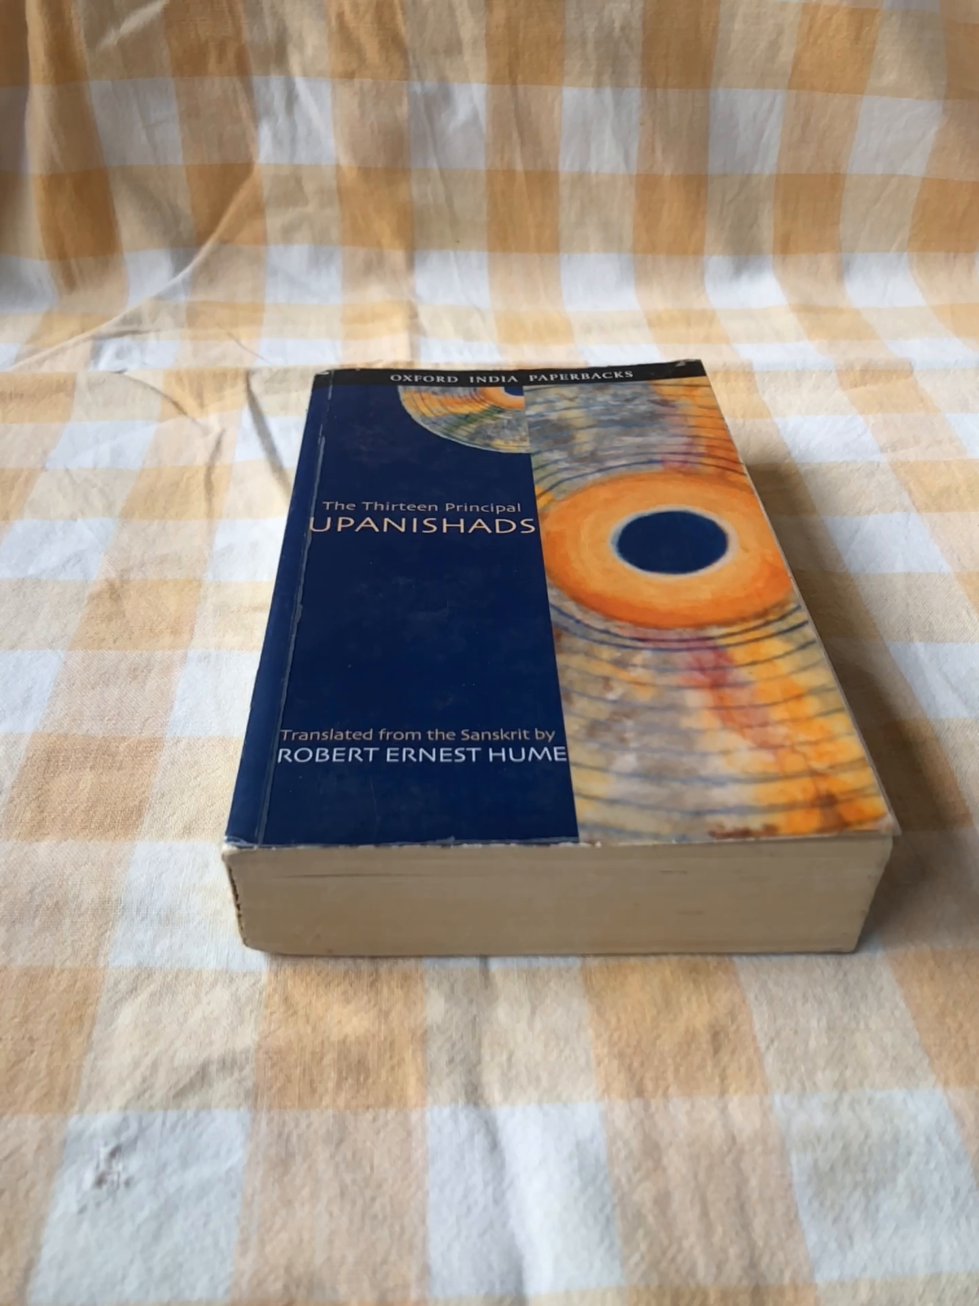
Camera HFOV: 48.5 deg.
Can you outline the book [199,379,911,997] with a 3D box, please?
[{"bbox_3d":[0.010,-0.010,0.306,0.140,0.040,0.211,0,41,-2],"label":"book"}]
